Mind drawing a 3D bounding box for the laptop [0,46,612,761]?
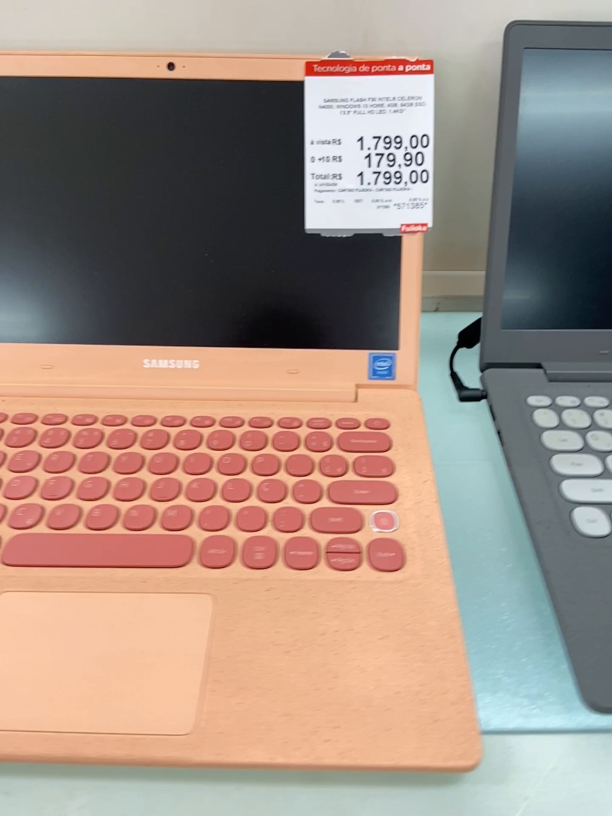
[{"bbox_3d":[-0.089,-0.048,0.326,0.329,0.160,0.361,1,43,1],"label":"laptop"}]
